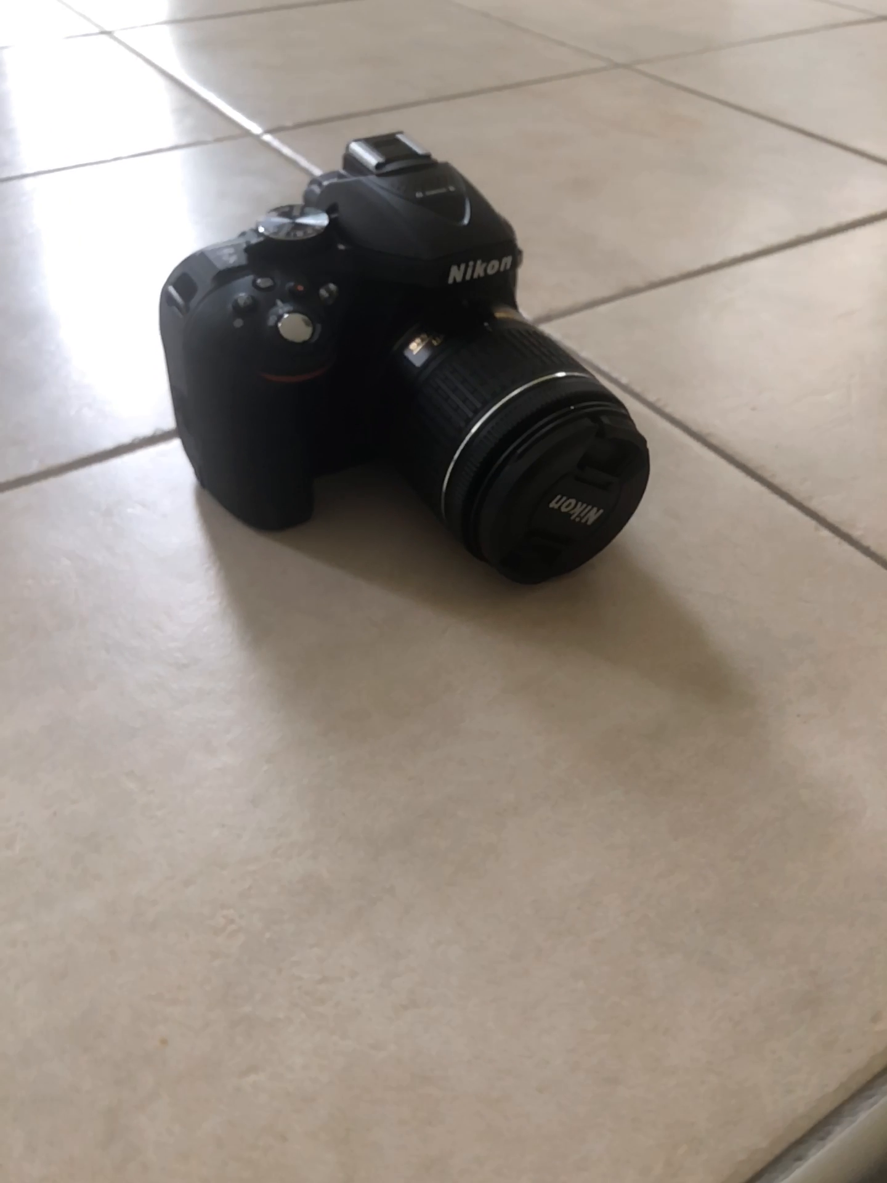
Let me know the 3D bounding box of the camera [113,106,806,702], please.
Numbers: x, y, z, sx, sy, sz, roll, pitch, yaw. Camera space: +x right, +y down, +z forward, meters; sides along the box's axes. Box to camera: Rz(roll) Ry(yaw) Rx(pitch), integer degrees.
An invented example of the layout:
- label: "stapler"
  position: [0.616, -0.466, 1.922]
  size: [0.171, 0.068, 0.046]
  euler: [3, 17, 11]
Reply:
- label: "camera"
  position: [-0.004, -0.074, 0.320]
  size: [0.140, 0.089, 0.160]
  euler: [-22, 49, -23]
